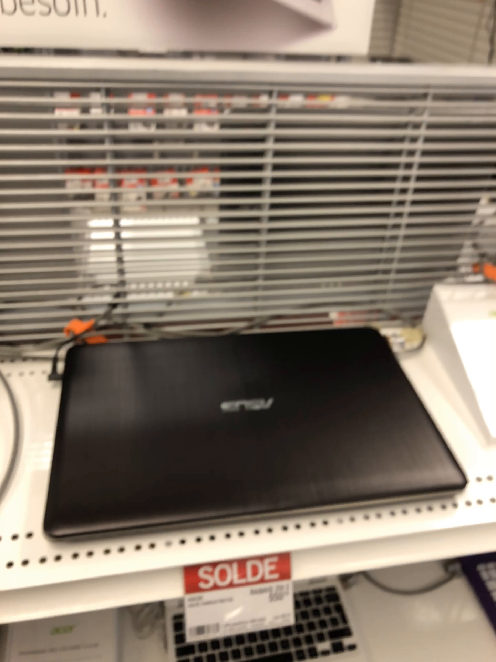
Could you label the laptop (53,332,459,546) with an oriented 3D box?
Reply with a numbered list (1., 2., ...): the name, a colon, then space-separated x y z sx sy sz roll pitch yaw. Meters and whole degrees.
1. laptop: 0.002 0.088 0.585 0.367 0.013 0.235 -3 38 -12
